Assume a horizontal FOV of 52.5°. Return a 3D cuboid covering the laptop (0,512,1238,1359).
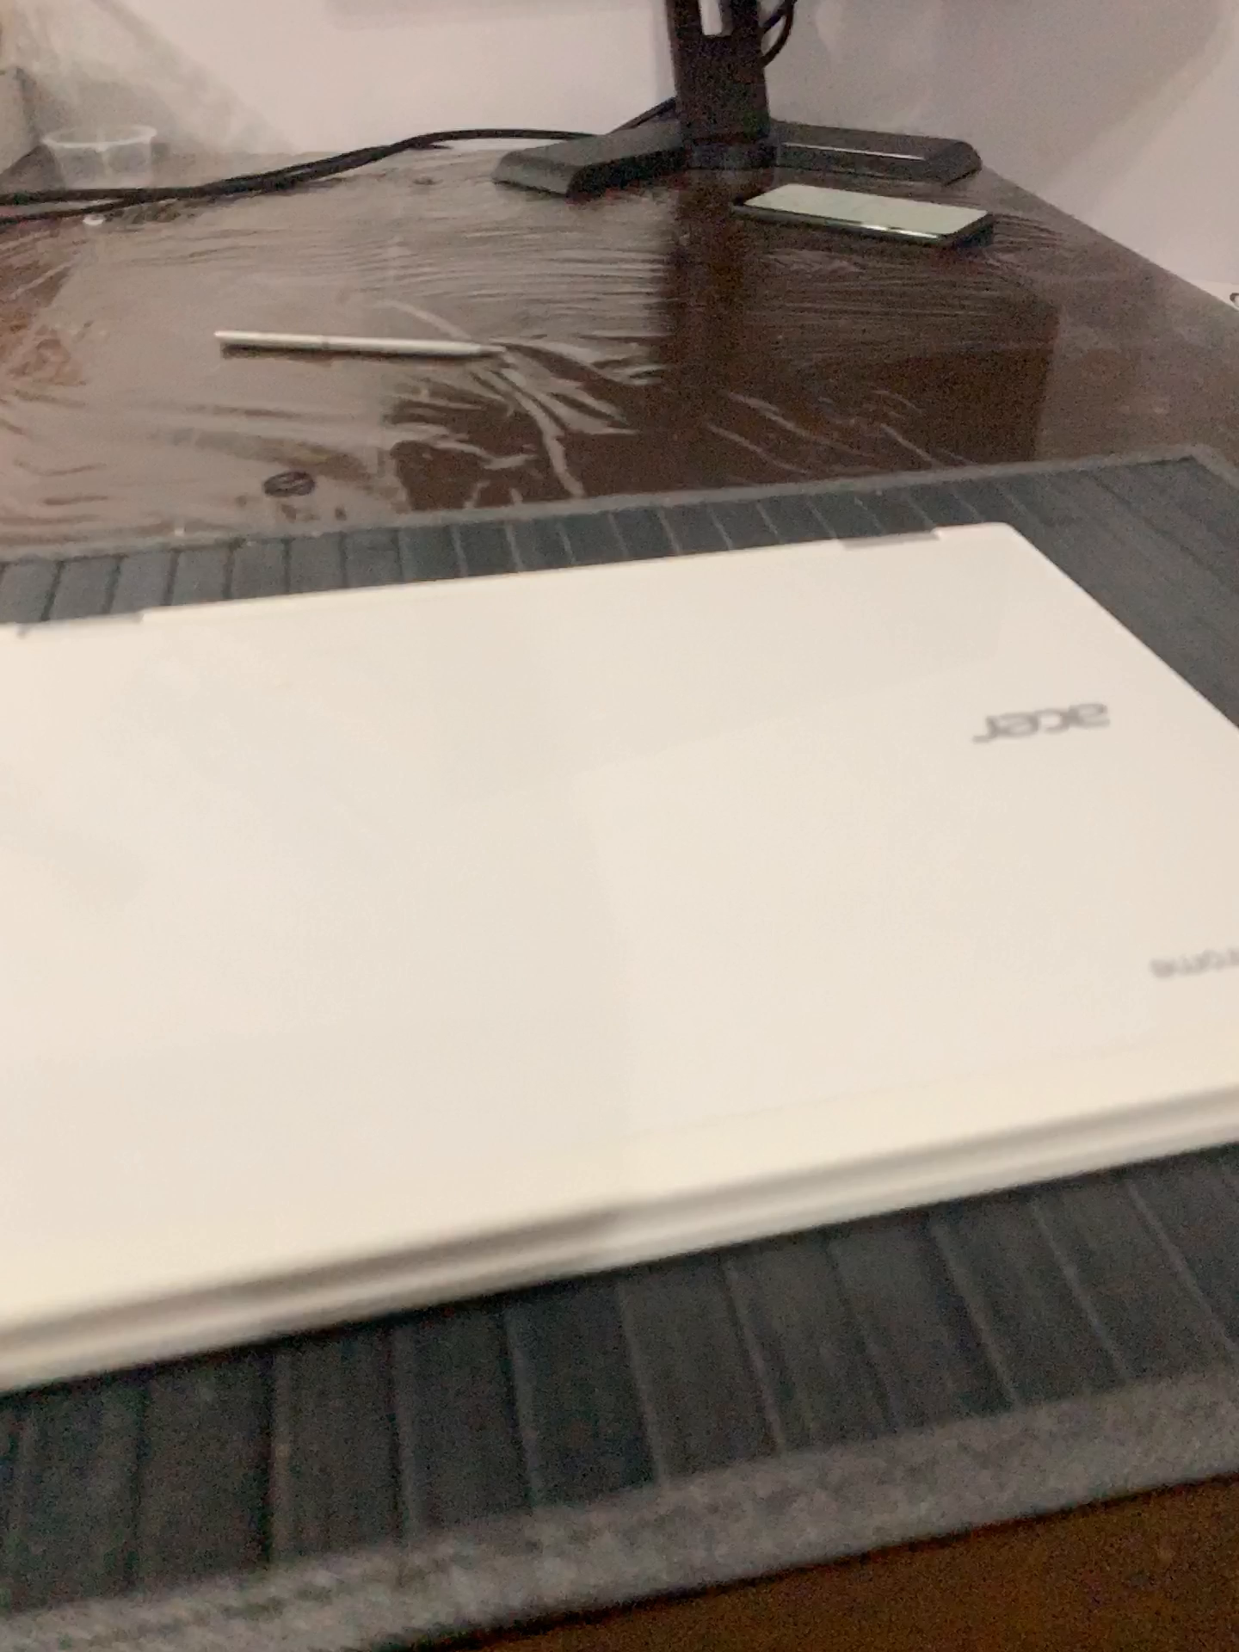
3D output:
[{"bbox_3d":[-0.004,-0.009,0.258,0.278,0.002,0.196,-9,38,-9],"label":"laptop"}]
